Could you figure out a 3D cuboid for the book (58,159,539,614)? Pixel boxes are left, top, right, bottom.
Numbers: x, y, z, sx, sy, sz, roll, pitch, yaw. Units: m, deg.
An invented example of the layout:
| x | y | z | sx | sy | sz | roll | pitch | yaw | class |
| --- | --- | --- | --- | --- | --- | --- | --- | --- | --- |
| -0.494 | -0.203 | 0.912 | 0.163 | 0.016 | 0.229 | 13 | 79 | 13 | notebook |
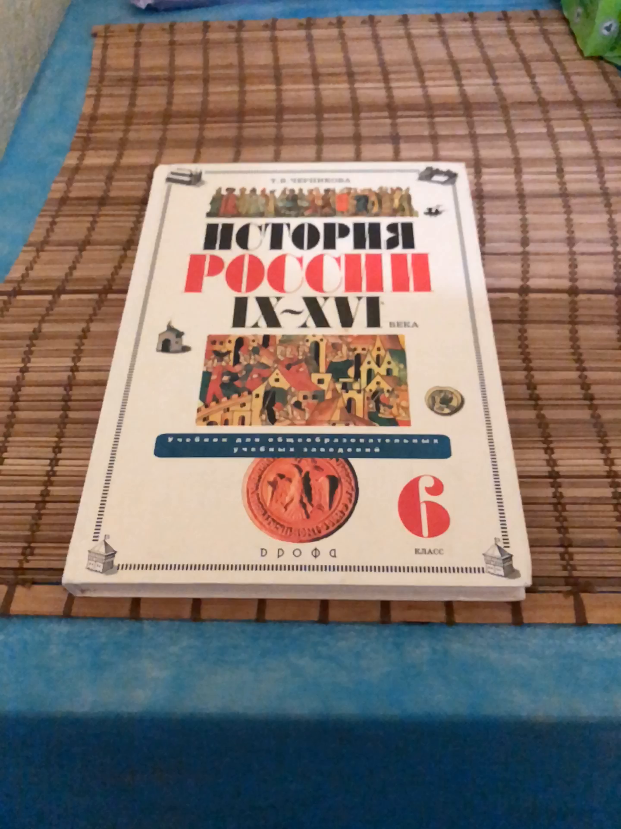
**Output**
| x | y | z | sx | sy | sz | roll | pitch | yaw | class |
| --- | --- | --- | --- | --- | --- | --- | --- | --- | --- |
| -0.002 | -0.032 | 0.322 | 0.169 | 0.029 | 0.241 | 0 | 55 | 3 | book |
